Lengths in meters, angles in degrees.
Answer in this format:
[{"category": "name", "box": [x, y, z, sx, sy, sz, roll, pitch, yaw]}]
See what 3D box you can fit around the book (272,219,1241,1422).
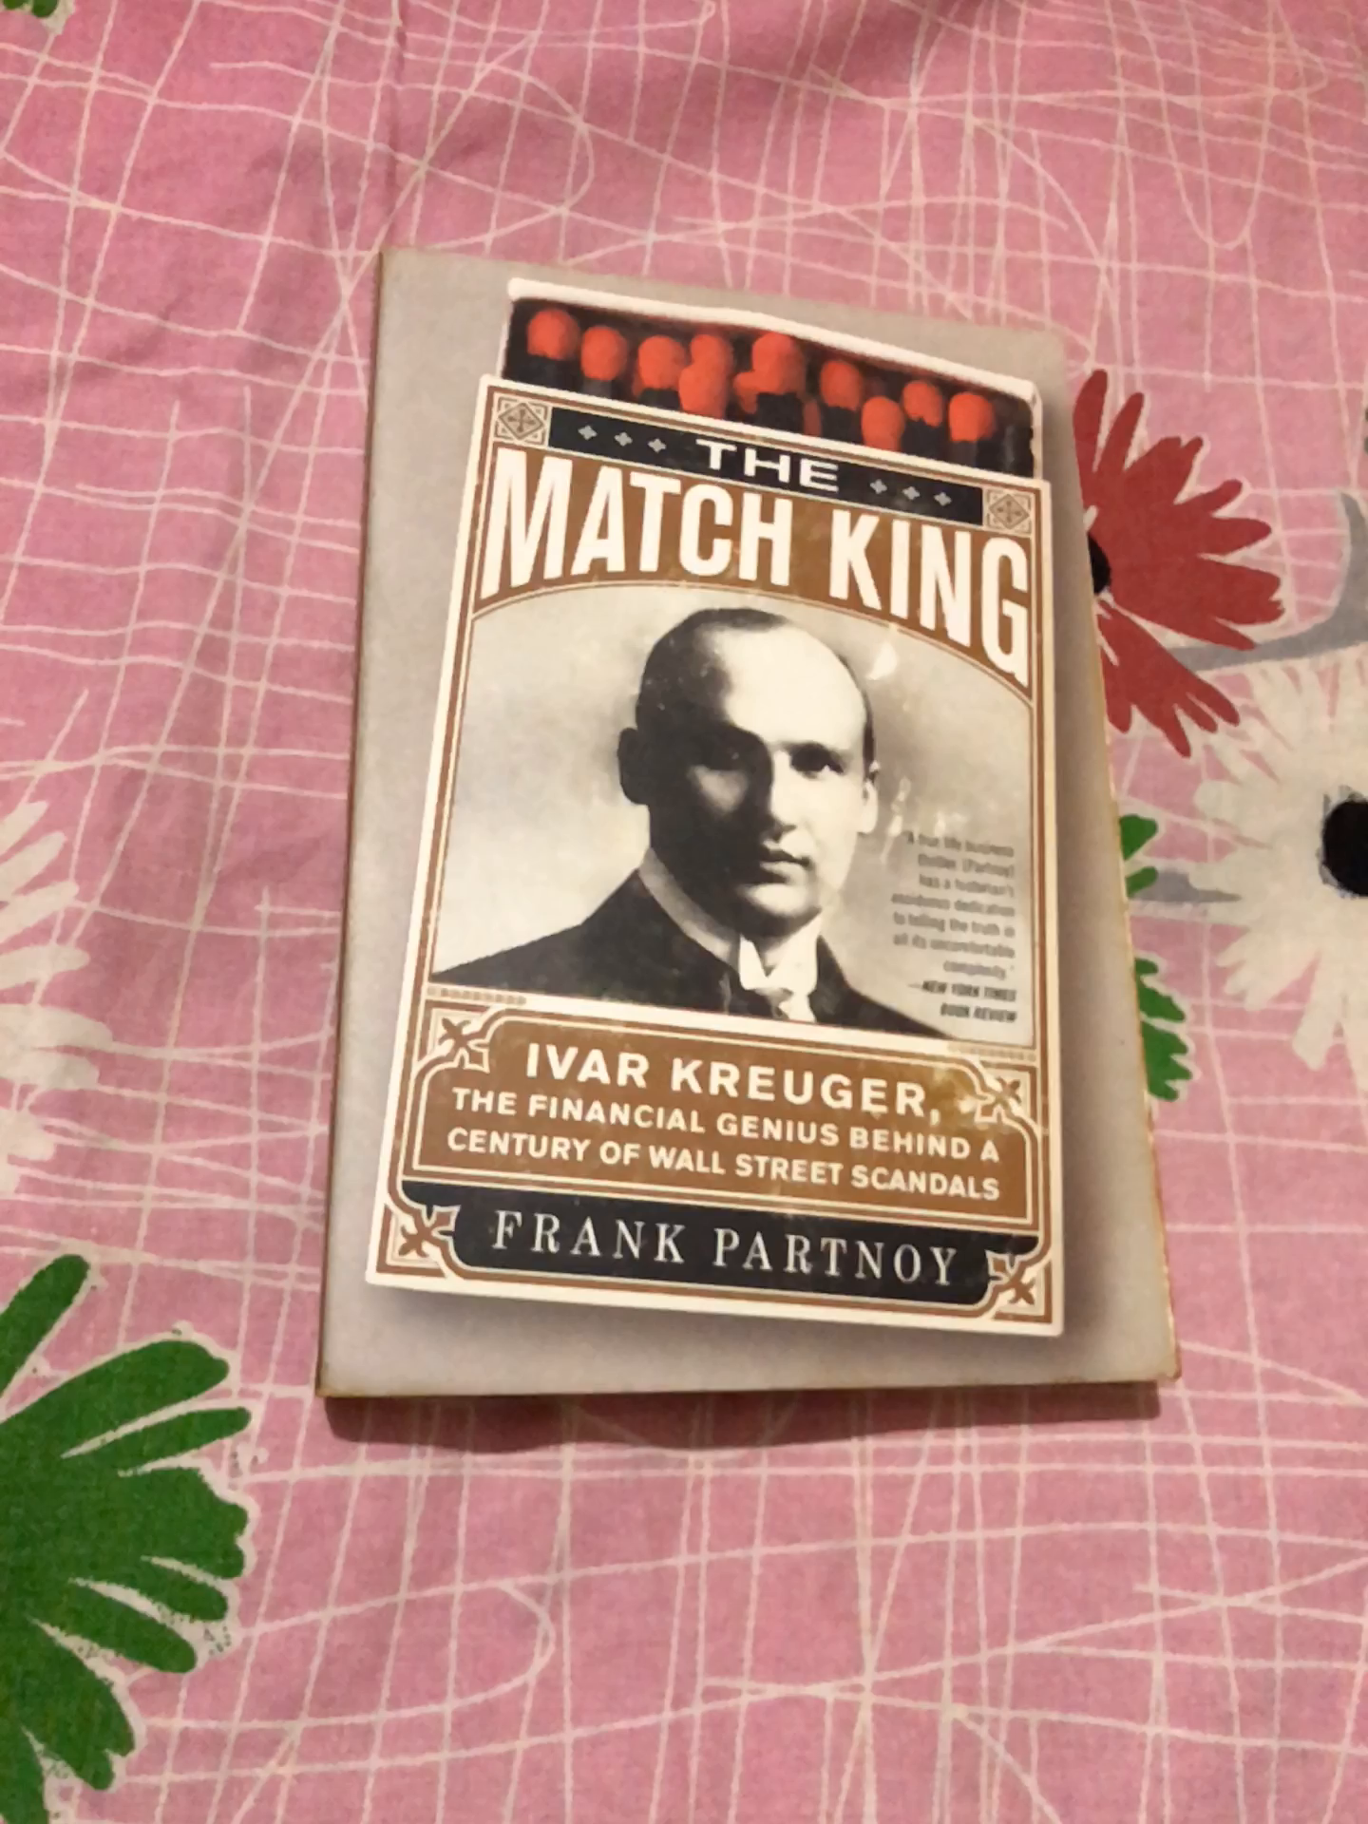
[{"category": "book", "box": [0.009, -0.027, 0.307, 0.160, 0.030, 0.240, 3, 65, -13]}]
